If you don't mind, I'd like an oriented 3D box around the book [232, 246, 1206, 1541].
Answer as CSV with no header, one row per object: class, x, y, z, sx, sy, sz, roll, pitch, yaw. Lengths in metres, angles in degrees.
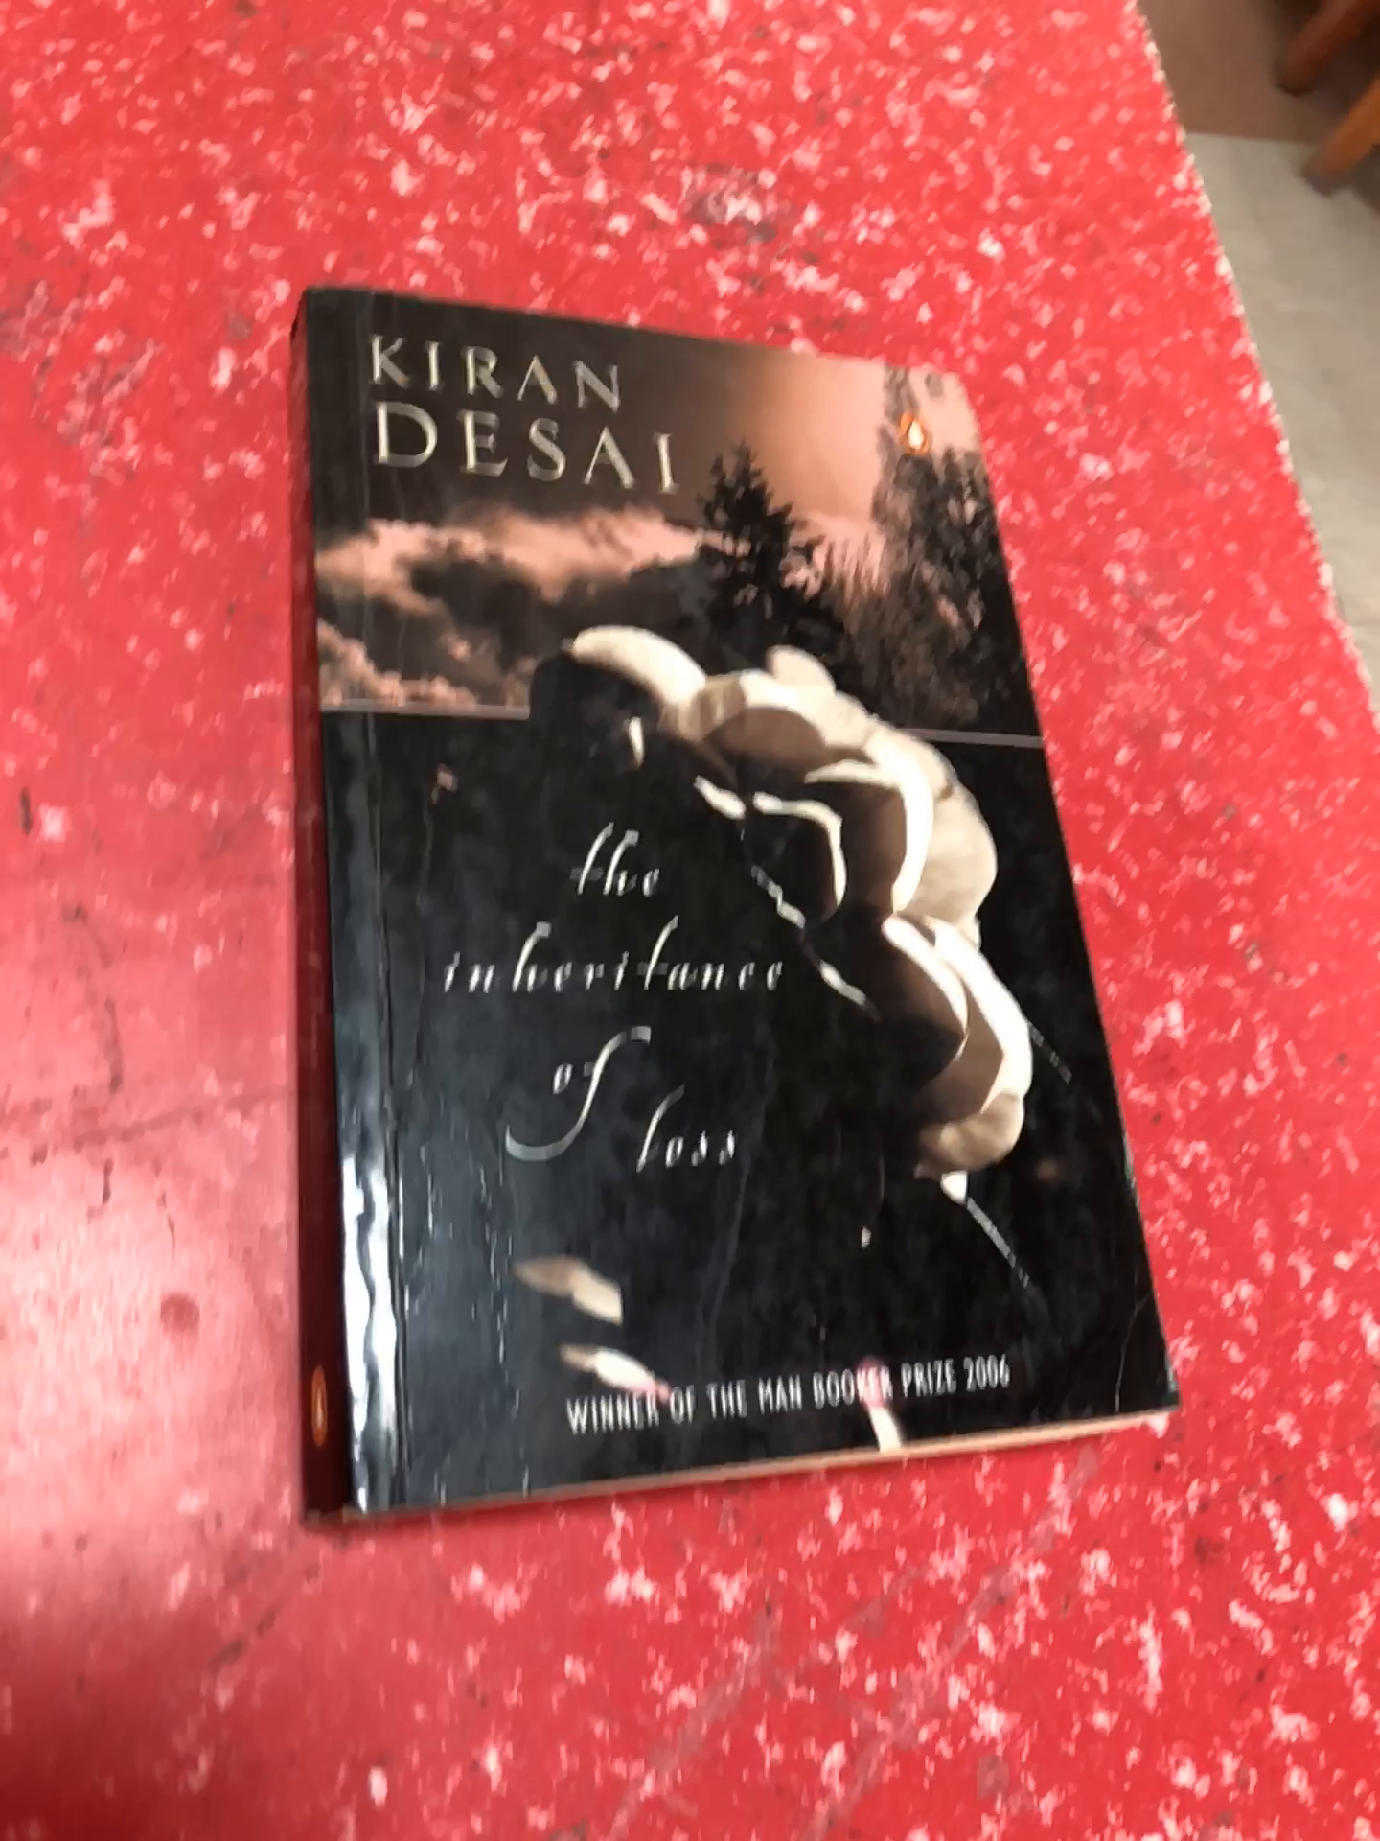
book,-0.006,-0.006,0.260,0.130,0.060,0.190,1,69,-21
